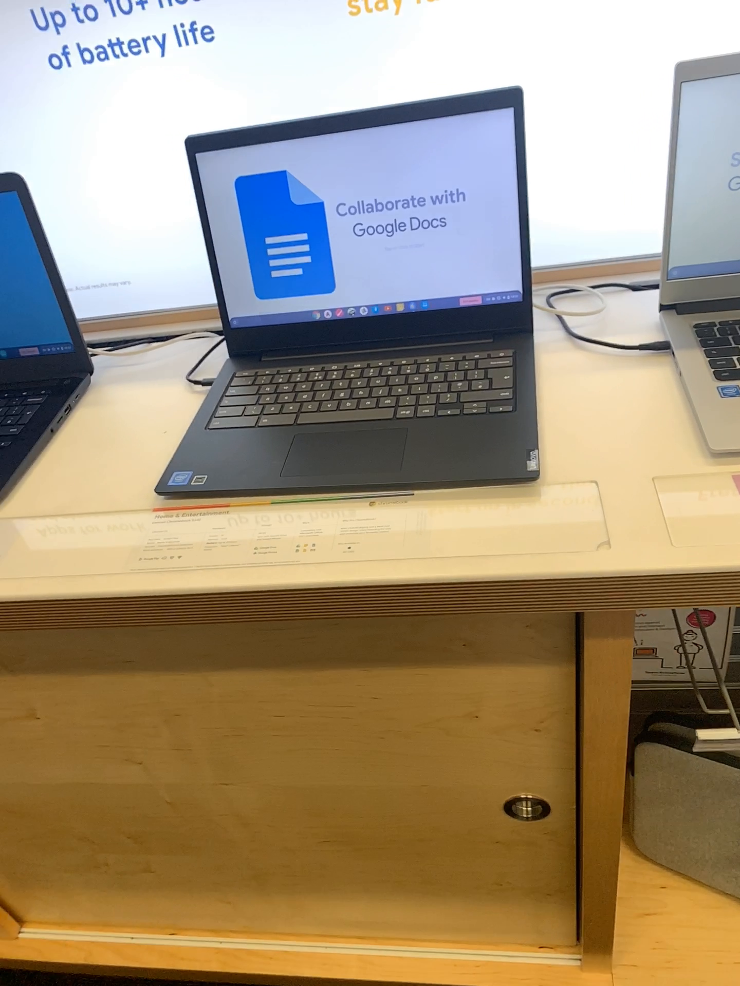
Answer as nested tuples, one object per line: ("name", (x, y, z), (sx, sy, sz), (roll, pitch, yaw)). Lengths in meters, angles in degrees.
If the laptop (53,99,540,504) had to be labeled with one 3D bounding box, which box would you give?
("laptop", (-0.025, -0.166, 0.647), (0.315, 0.201, 0.282), (-2, 40, 12))
